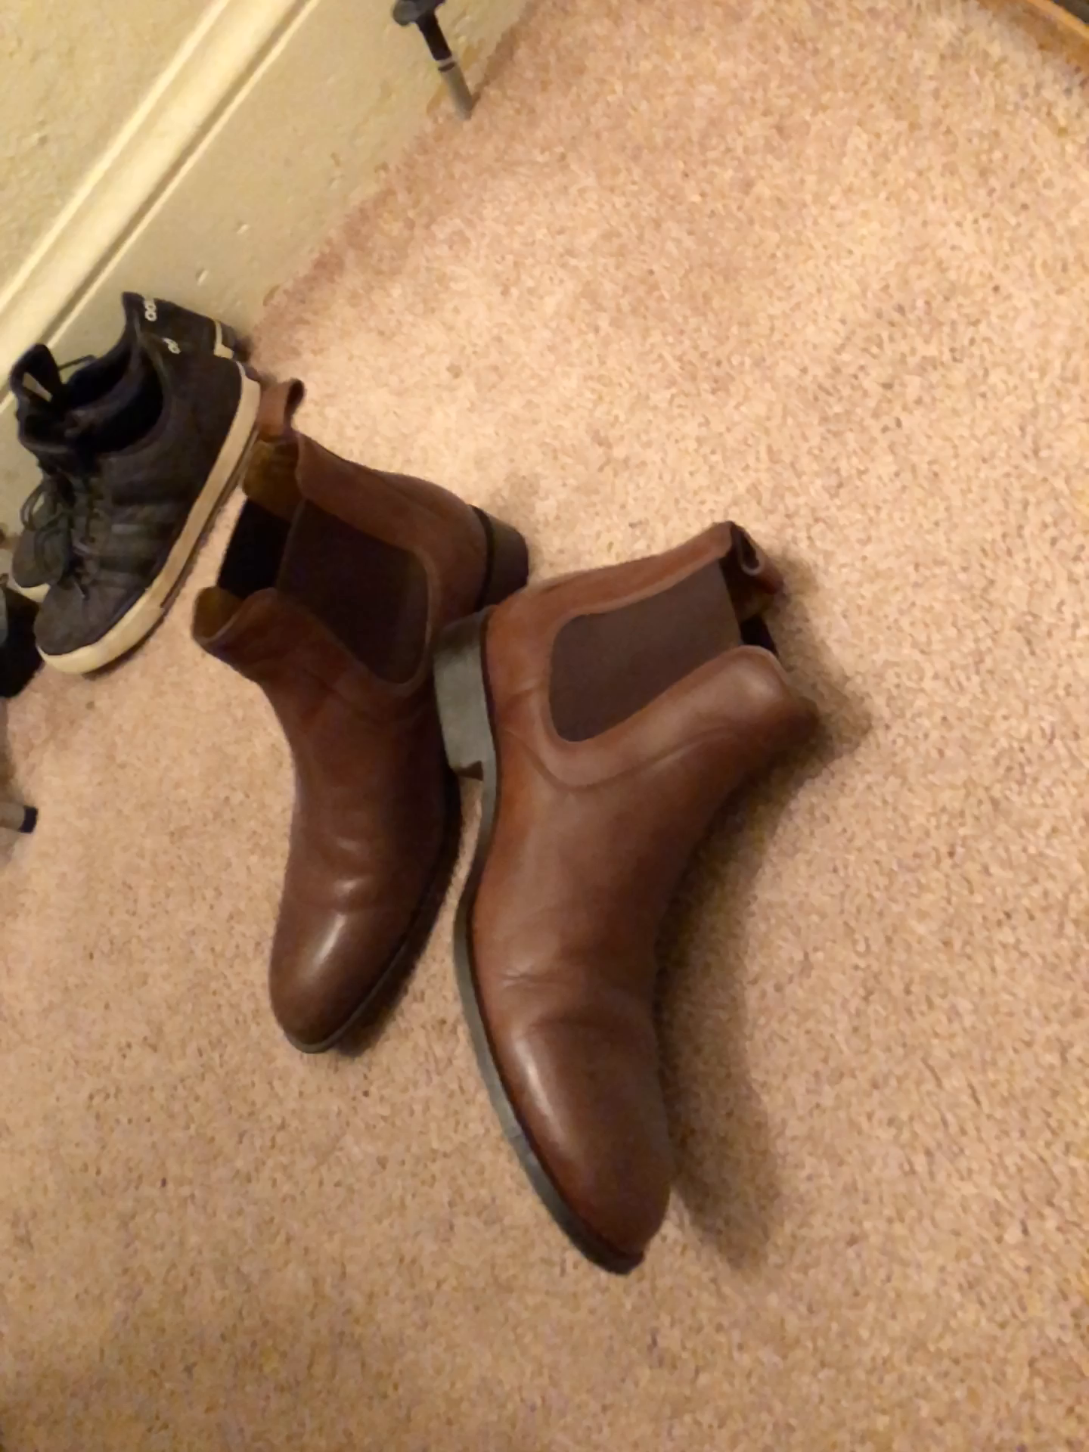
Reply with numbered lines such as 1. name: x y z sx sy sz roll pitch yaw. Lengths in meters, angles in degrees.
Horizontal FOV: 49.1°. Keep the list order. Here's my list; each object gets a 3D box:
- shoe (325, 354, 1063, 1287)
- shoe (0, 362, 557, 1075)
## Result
1. shoe: 0.036 0.034 0.468 0.169 0.119 0.297 -34 54 25
2. shoe: -0.129 0.000 0.585 0.109 0.158 0.296 12 81 44
